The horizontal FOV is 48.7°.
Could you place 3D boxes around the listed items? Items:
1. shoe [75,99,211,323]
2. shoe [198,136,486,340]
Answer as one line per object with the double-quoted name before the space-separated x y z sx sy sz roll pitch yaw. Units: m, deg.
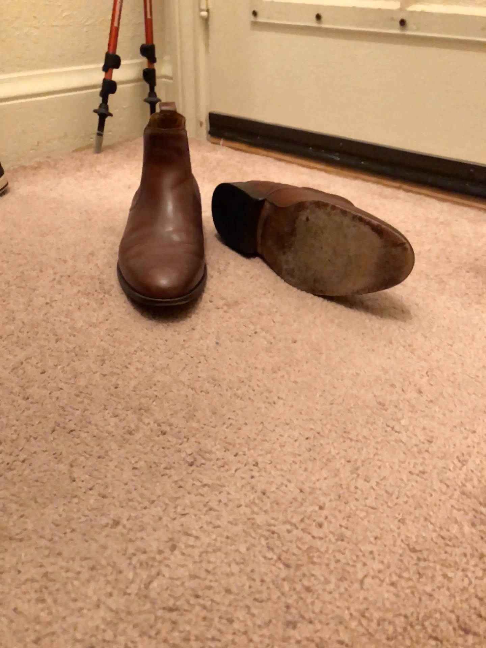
"shoe" -0.096 -0.150 0.631 0.109 0.158 0.298 0 33 -2
"shoe" 0.104 -0.126 0.661 0.170 0.118 0.297 -25 43 -36
